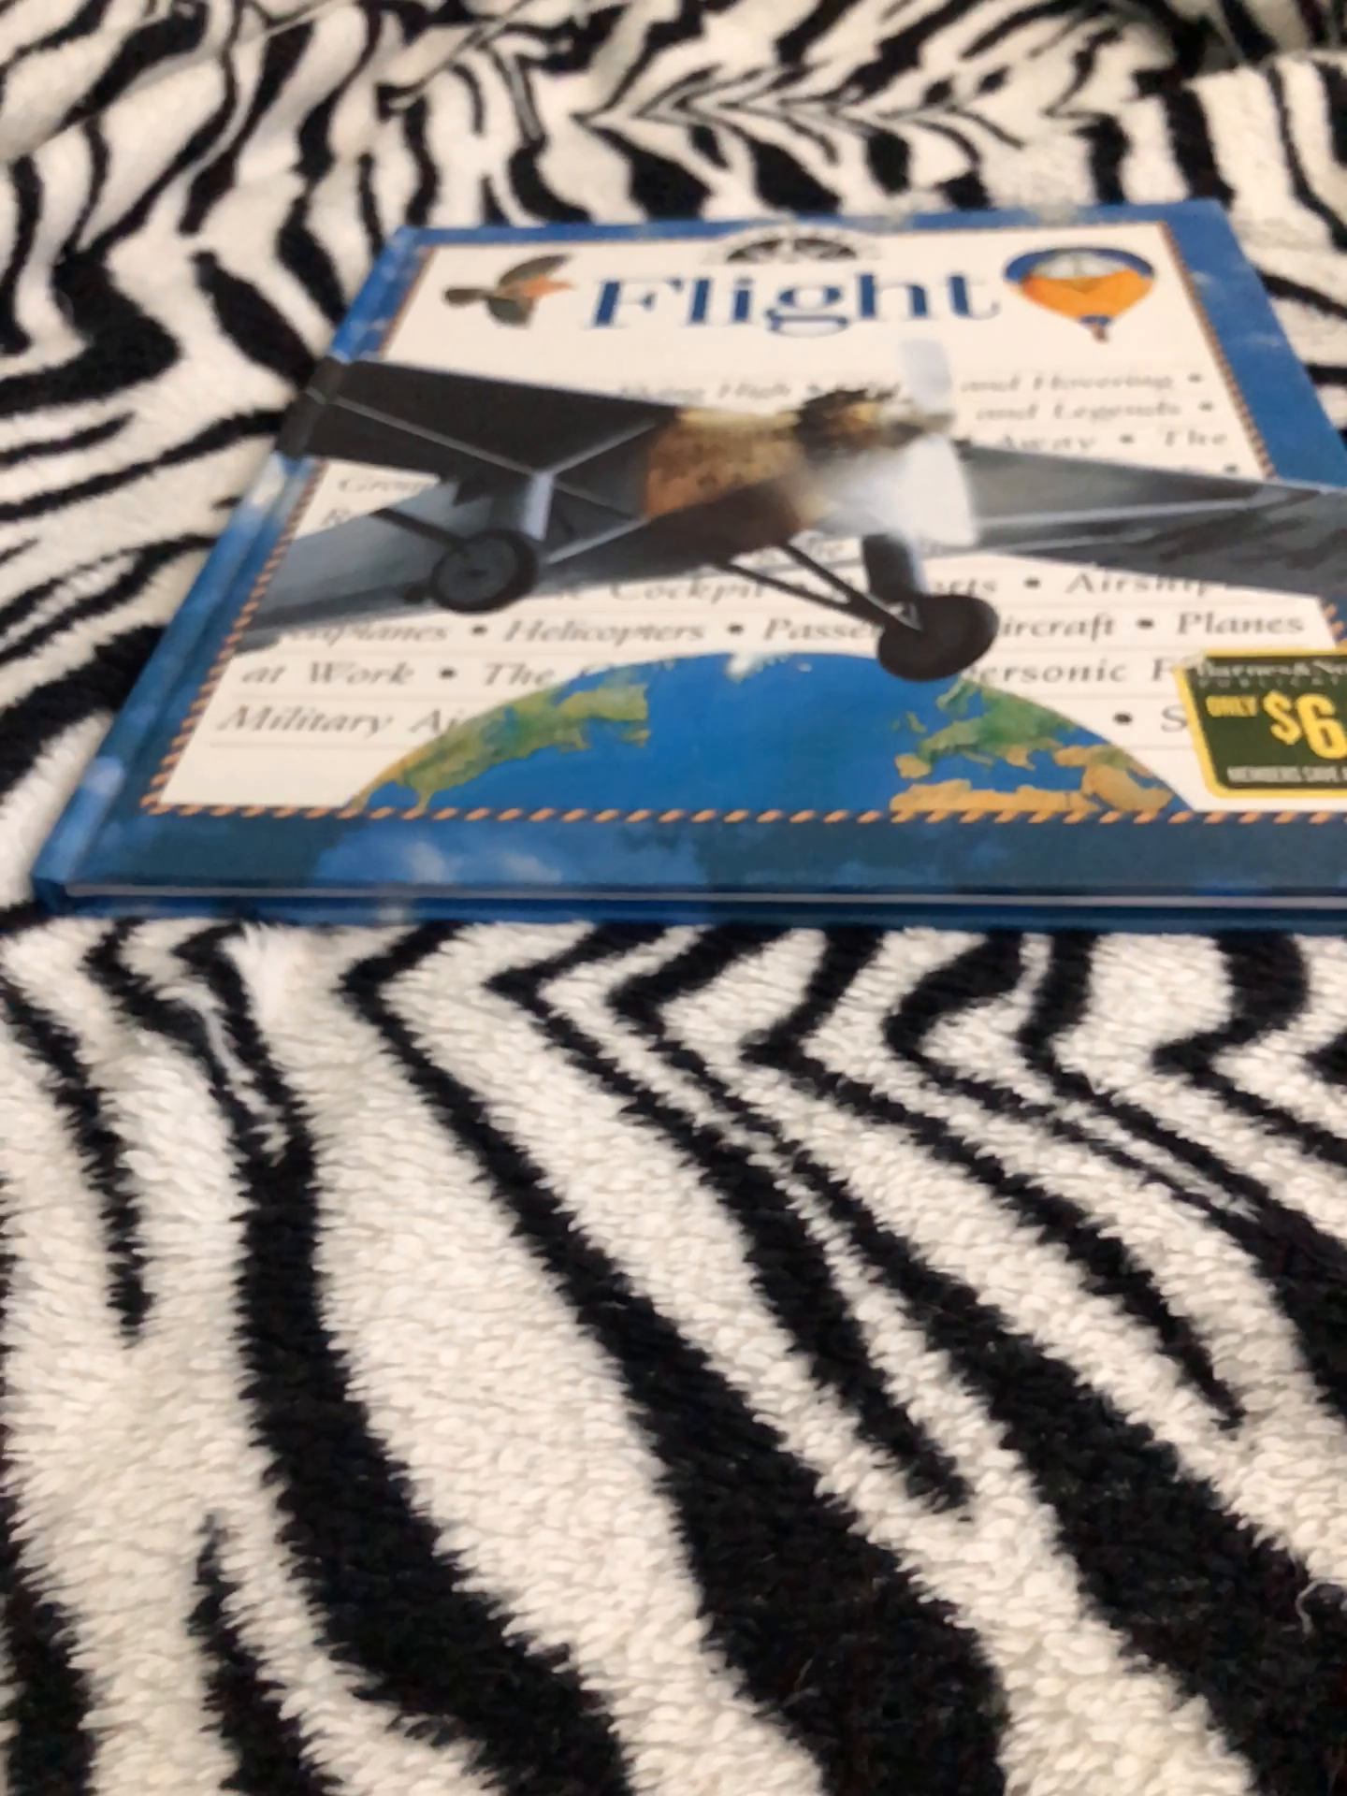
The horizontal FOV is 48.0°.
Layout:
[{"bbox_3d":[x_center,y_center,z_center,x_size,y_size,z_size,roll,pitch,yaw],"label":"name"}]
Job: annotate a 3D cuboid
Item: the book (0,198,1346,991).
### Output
[{"bbox_3d":[0.020,-0.099,0.353,0.258,0.020,0.302,1,43,5],"label":"book"}]
